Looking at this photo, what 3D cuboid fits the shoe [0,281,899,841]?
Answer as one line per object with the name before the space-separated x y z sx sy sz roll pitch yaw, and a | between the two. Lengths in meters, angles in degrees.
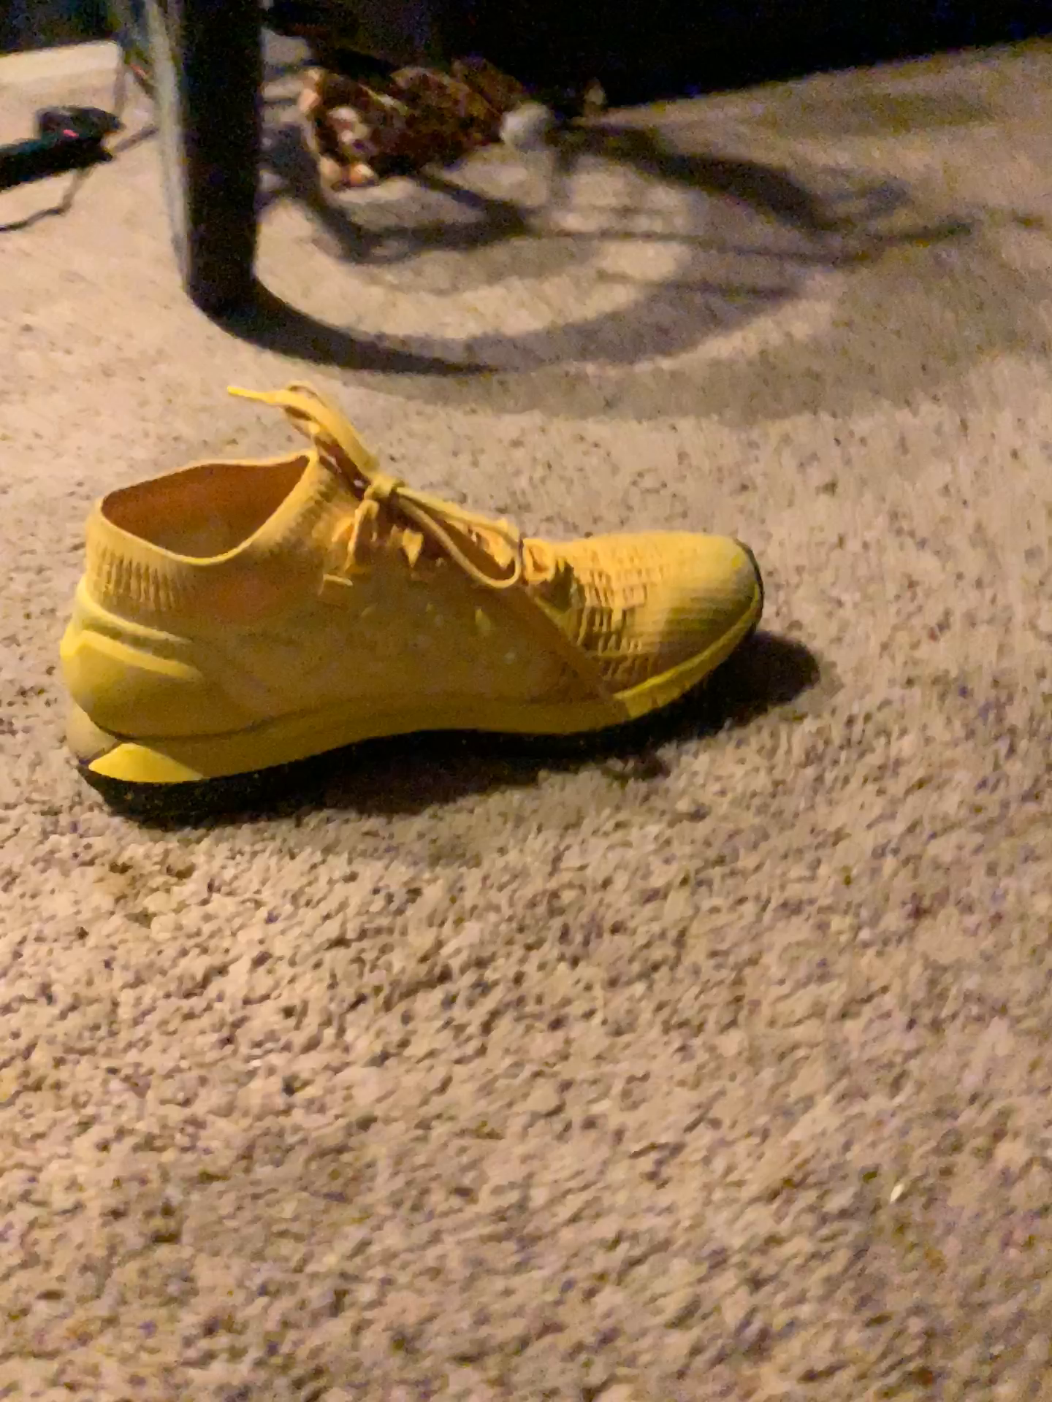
shoe | -0.037 -0.064 0.470 0.320 0.130 0.130 -10 37 -6
